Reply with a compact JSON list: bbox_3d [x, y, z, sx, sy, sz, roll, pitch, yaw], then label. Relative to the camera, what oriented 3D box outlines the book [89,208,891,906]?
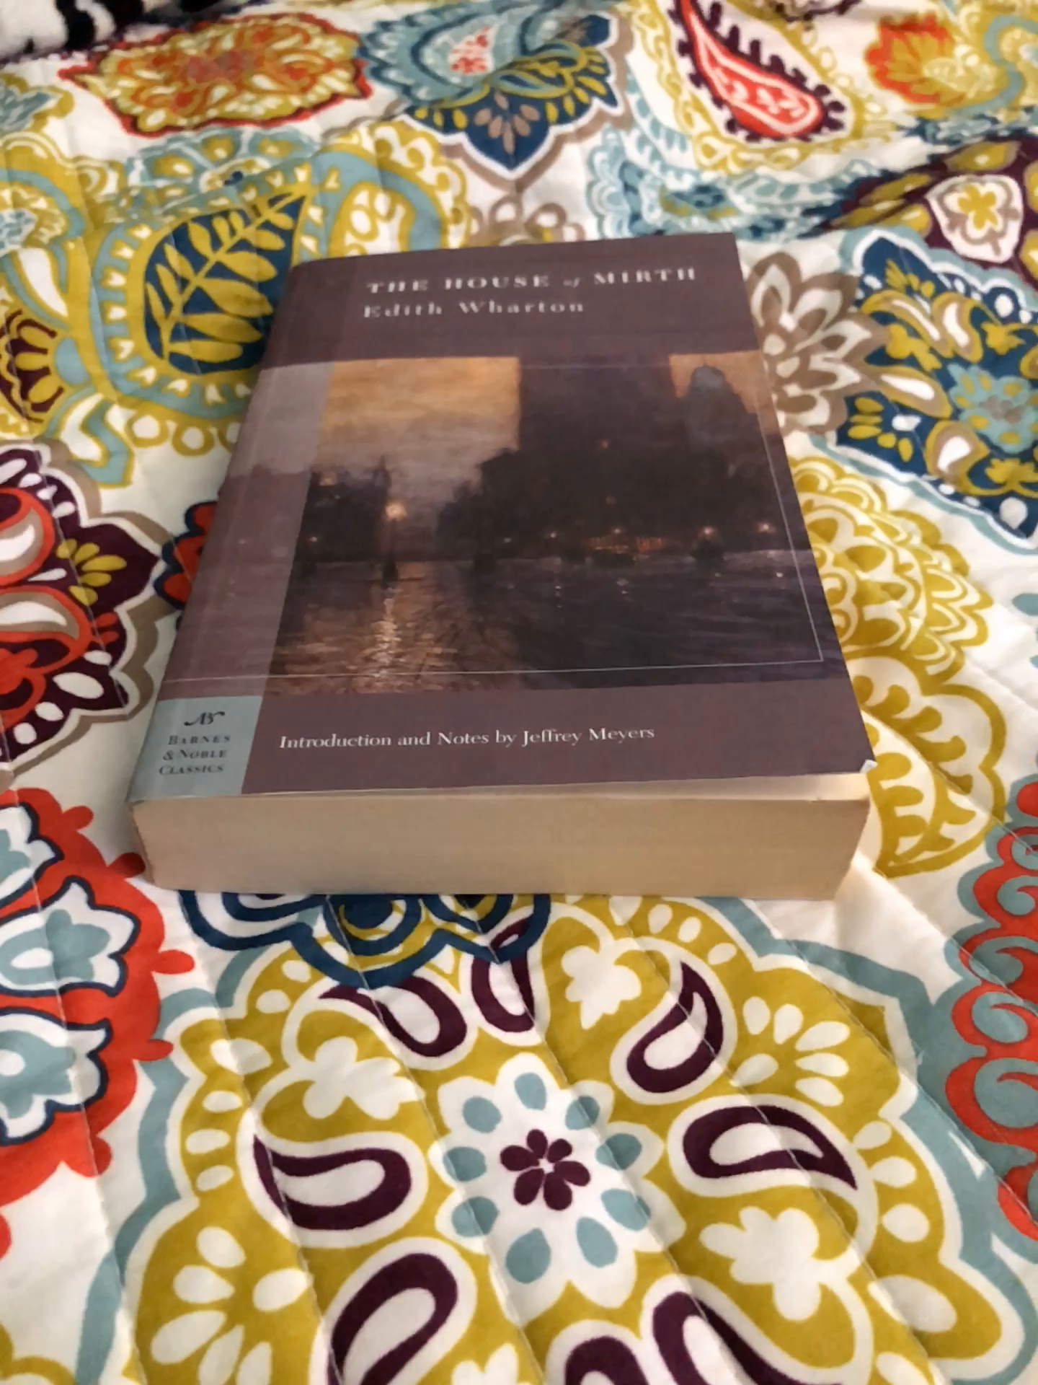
[{"bbox_3d":[-0.003,-0.046,0.282,0.141,0.040,0.196,-2,50,4],"label":"book"}]
